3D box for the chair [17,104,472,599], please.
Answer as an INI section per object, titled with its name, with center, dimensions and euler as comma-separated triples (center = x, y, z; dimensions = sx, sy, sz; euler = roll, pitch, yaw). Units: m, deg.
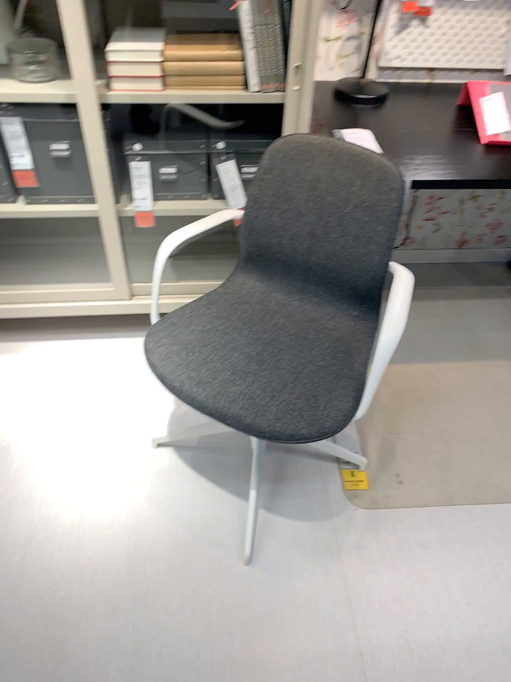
[chair]
center = 0.009, 0.023, 1.267
dimensions = 0.621, 0.837, 0.642
euler = 23, 48, 18
